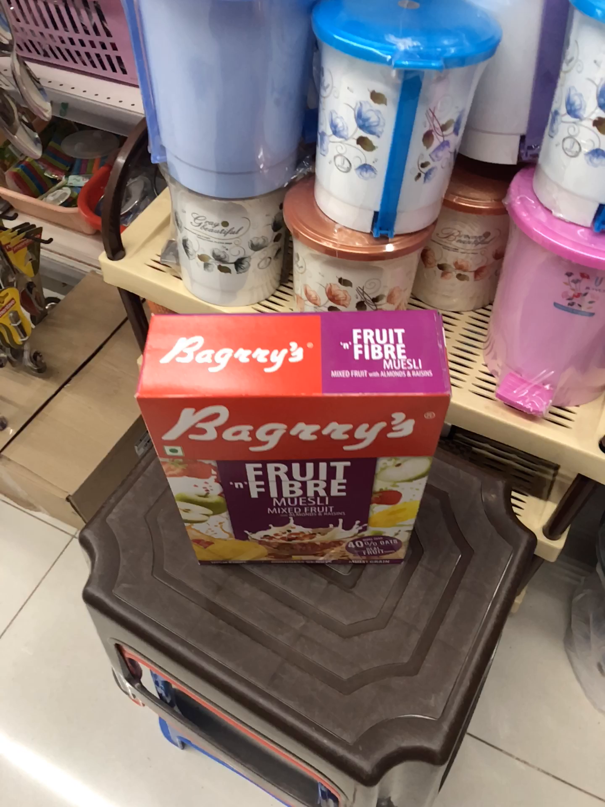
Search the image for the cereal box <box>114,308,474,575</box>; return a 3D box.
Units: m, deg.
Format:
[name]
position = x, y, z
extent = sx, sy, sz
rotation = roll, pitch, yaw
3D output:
[cereal box]
position = -0.002, 0.045, 0.497
extent = 0.200, 0.260, 0.070
rotation = 0, 55, 2
